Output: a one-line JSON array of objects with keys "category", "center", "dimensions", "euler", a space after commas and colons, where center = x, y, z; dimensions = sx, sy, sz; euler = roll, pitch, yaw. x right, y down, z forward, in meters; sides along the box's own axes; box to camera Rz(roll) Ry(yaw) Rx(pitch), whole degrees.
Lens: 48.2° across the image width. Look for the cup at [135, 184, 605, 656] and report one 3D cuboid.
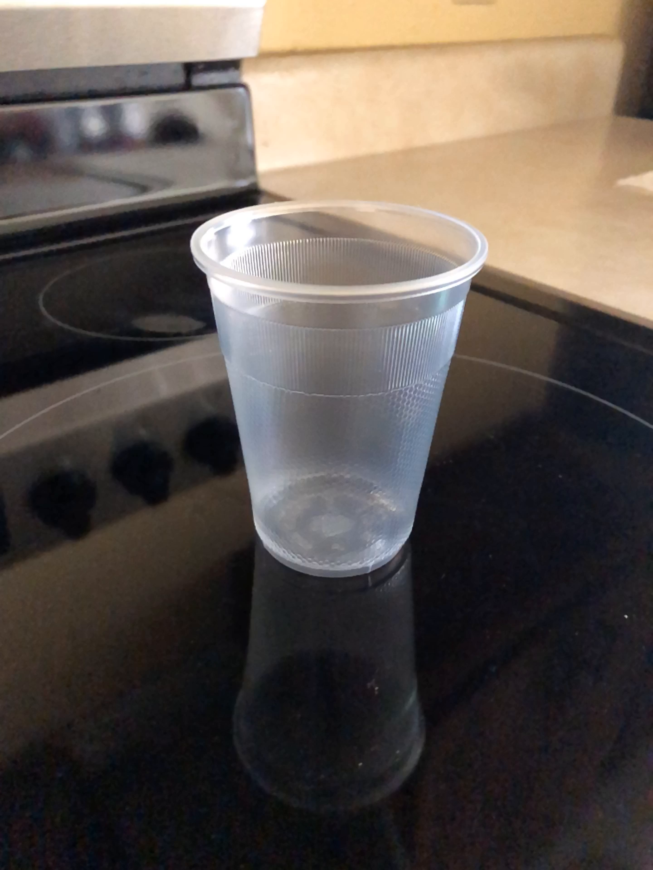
[{"category": "cup", "center": [0.007, -0.013, 0.194], "dimensions": [0.079, 0.081, 0.081], "euler": [0, 31, 0]}]
